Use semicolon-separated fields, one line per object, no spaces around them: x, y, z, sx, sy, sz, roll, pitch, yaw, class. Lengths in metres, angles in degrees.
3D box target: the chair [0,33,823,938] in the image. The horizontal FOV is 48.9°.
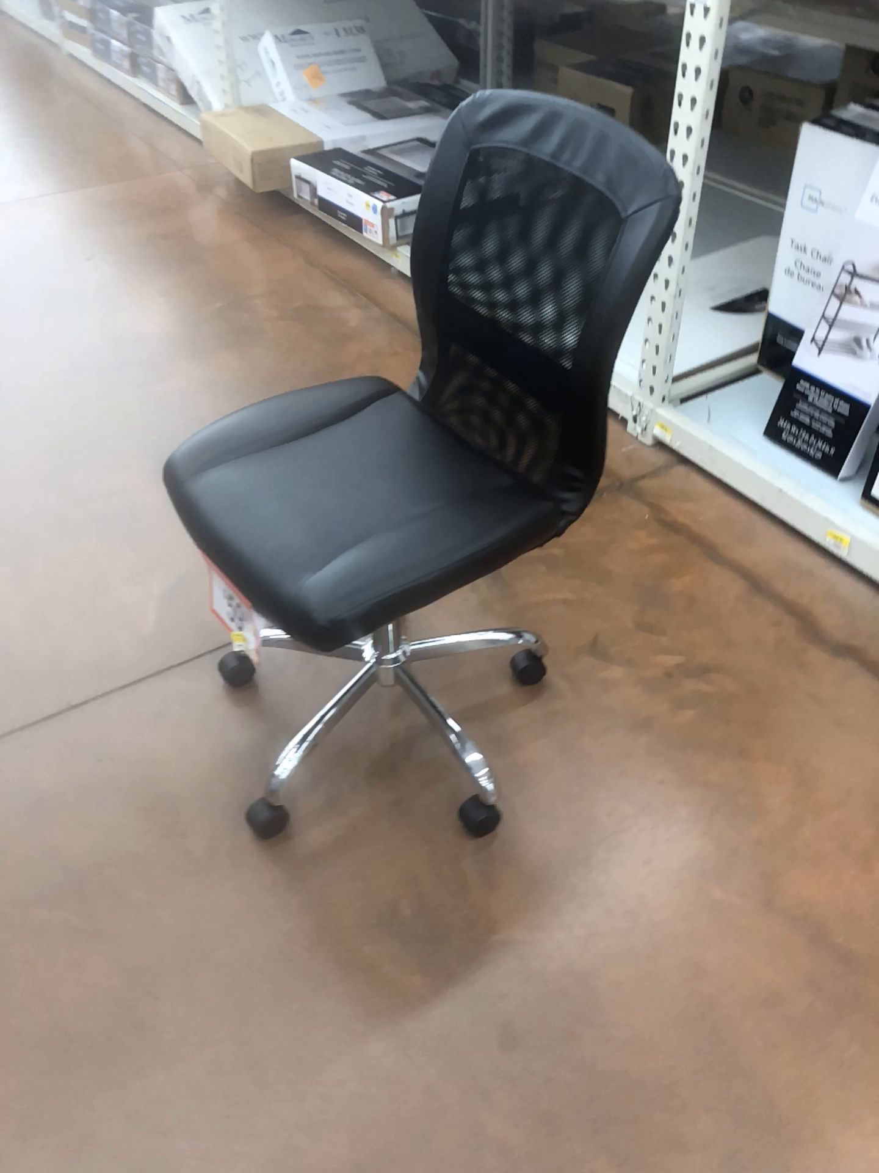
-0.077;-0.179;1.291;0.651;0.817;0.682;-24;45;-24;chair
